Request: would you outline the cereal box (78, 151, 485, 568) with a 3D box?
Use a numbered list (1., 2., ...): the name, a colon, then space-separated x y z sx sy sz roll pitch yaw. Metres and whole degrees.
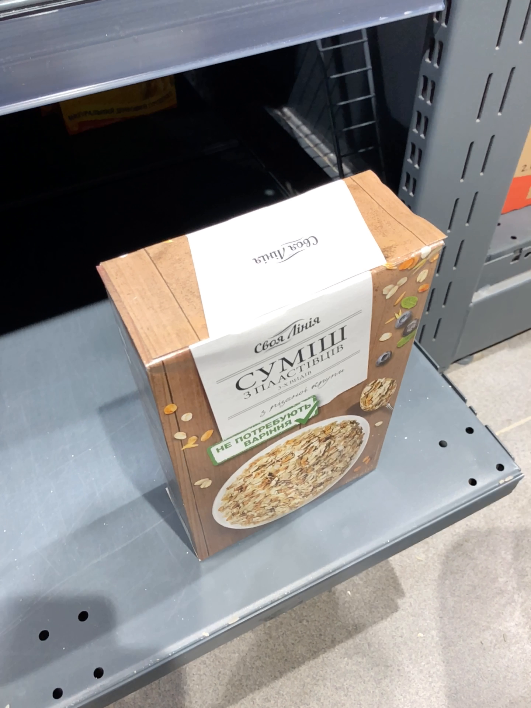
1. cereal box: 0.010 0.018 0.326 0.160 0.208 0.060 -23 55 -17
